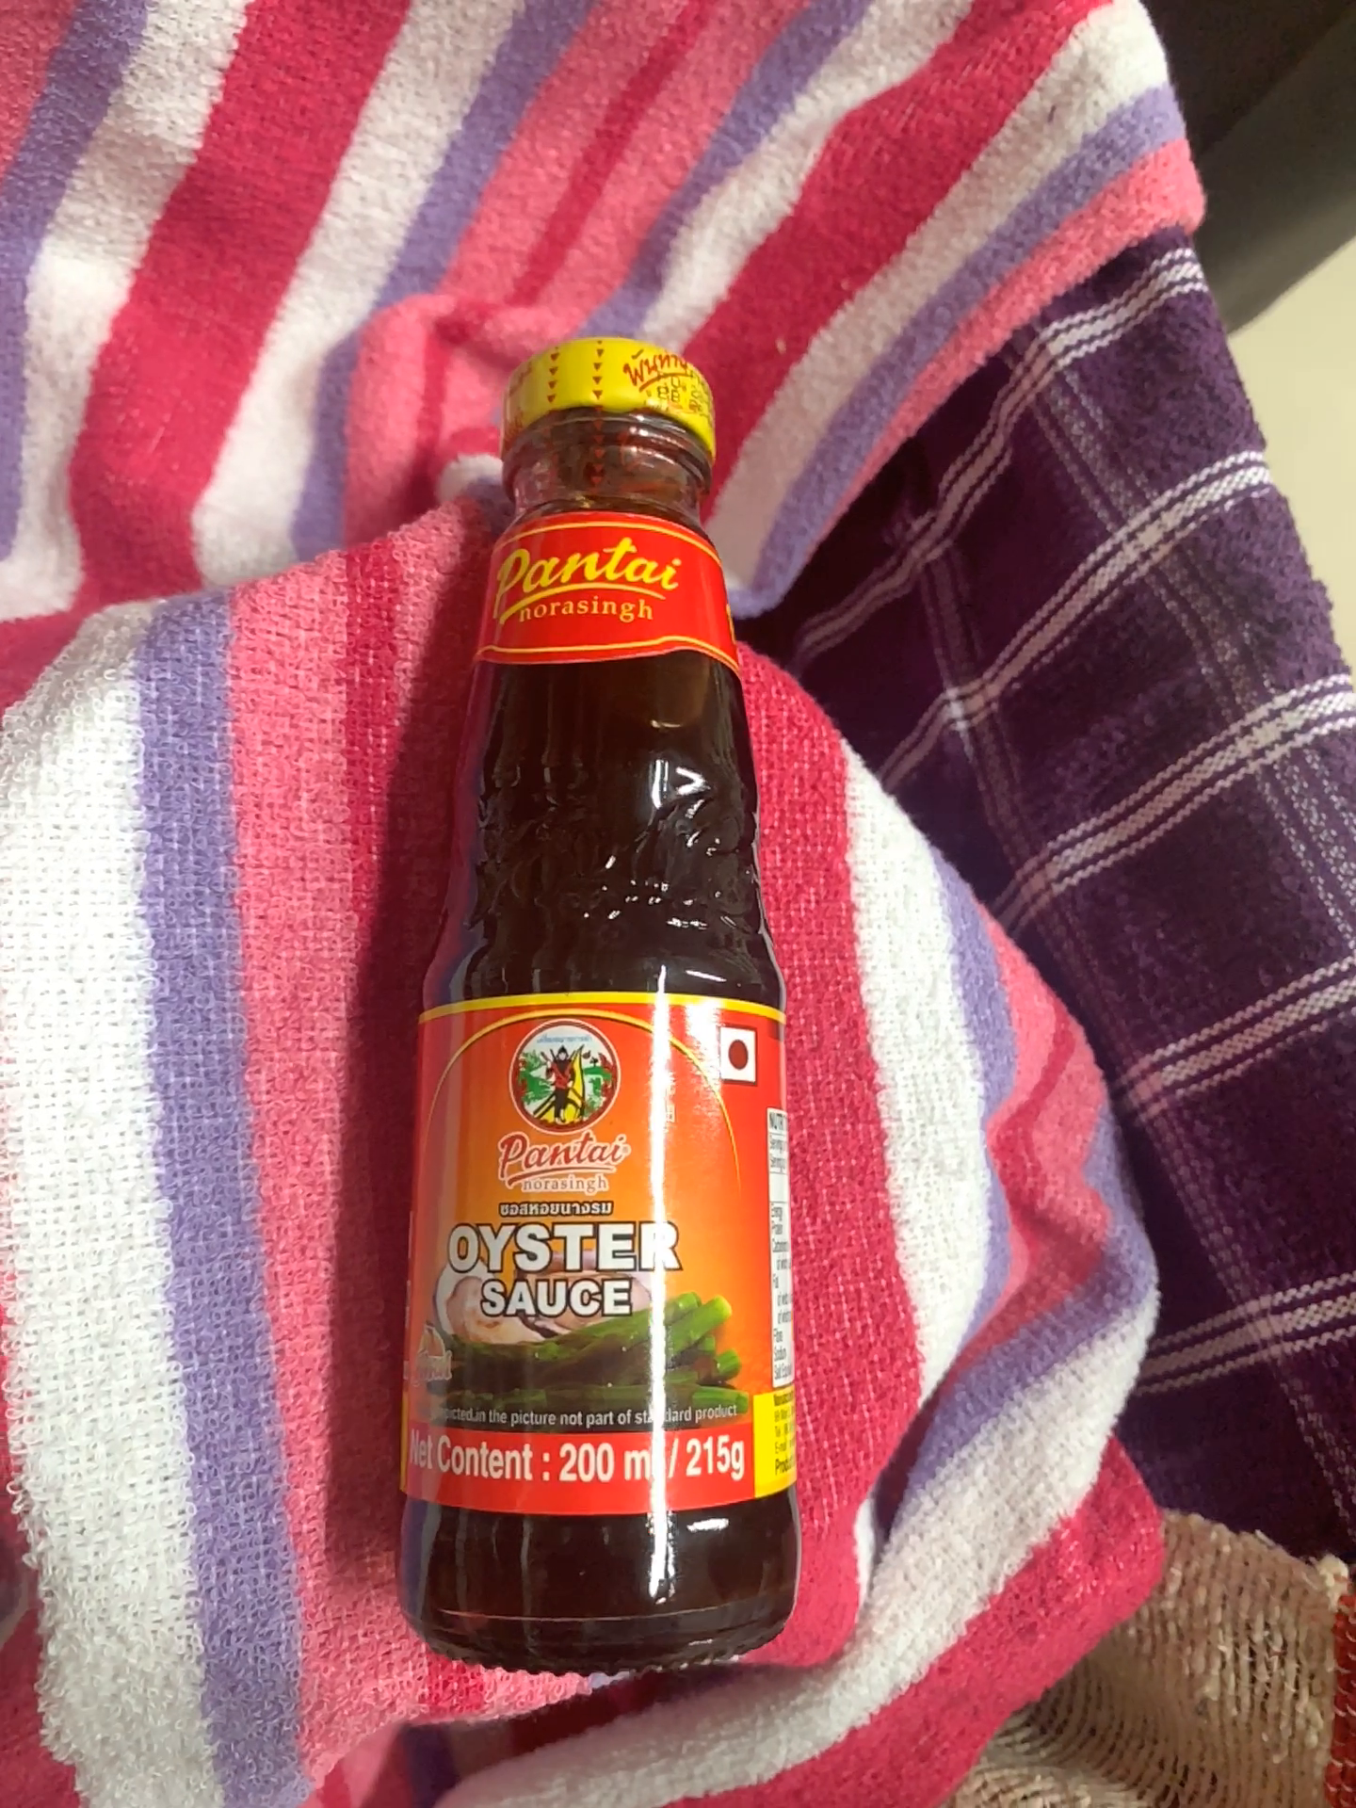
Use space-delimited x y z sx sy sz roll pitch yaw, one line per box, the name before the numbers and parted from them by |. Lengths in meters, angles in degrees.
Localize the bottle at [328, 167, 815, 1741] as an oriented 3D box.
bottle | -0.009 0.000 0.194 0.050 0.050 0.190 -2 76 7
